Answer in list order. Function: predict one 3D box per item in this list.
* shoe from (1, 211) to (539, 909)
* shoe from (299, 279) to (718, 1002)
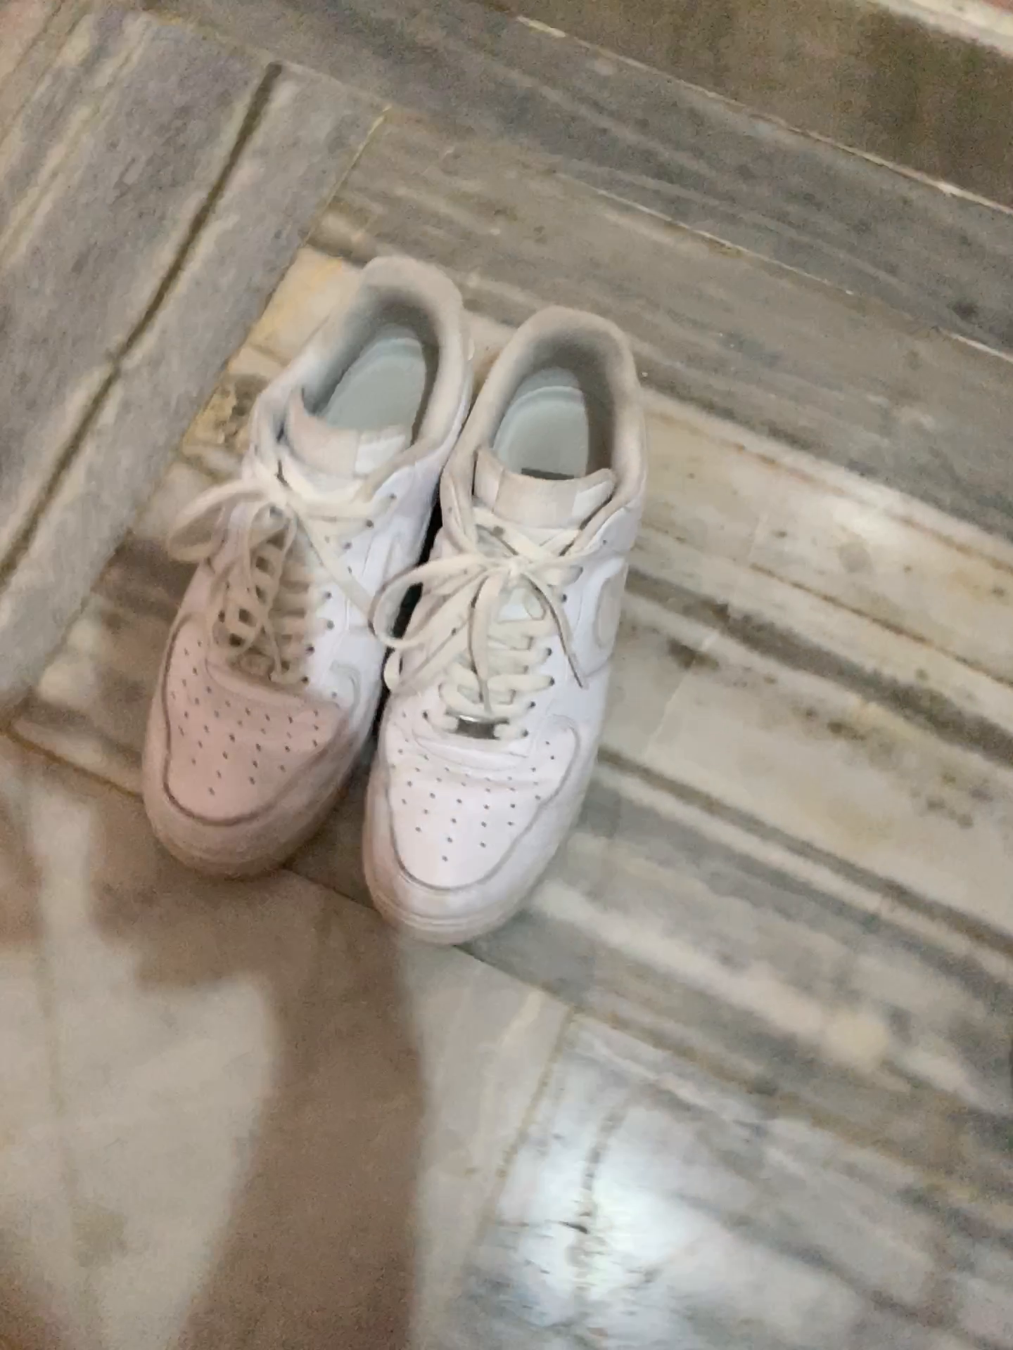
[{"bbox_3d":[-0.099,-0.052,0.525,0.110,0.120,0.310,24,76,4],"label":"shoe"},{"bbox_3d":[0.006,-0.014,0.510,0.110,0.120,0.310,14,75,1],"label":"shoe"}]
